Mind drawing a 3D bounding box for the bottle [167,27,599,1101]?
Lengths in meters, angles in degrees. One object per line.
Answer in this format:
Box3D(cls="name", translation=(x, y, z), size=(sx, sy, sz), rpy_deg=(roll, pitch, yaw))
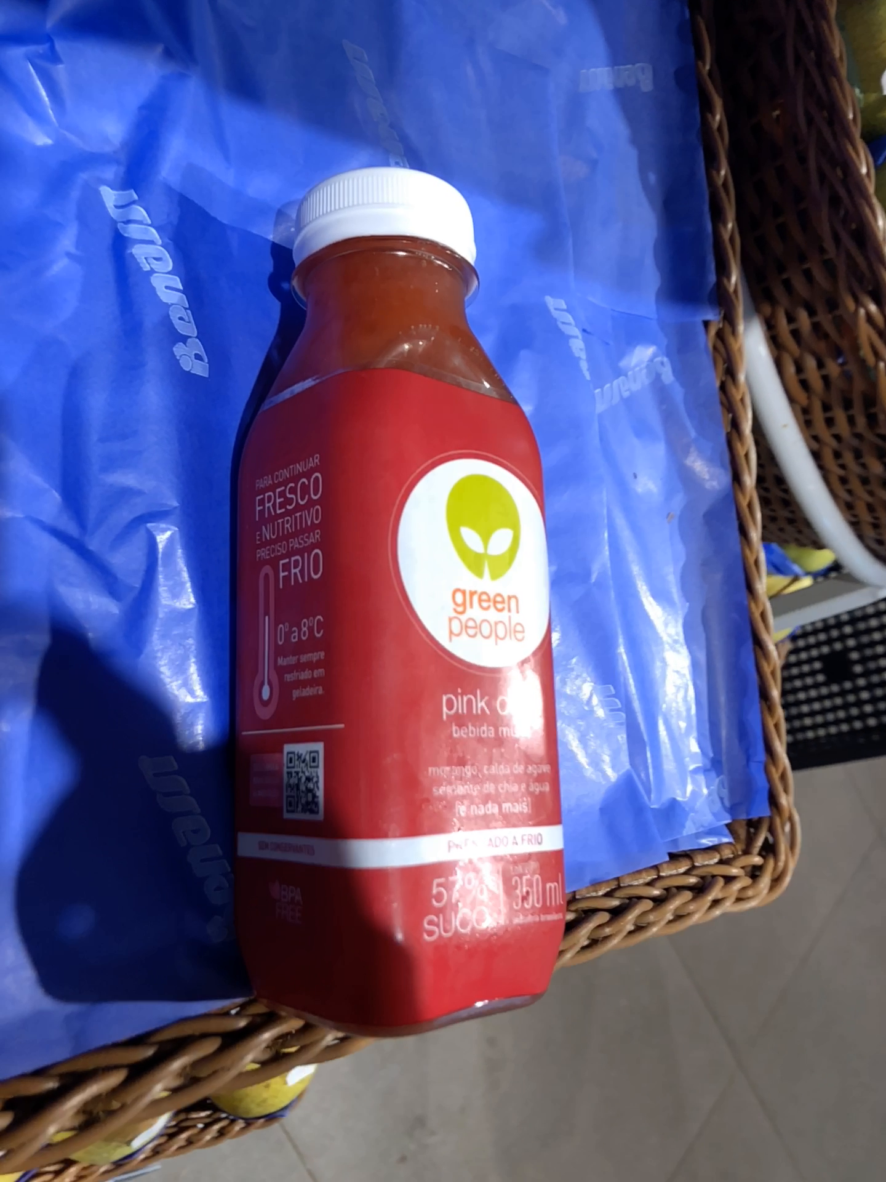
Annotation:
Box3D(cls="bottle", translation=(-0.014, -0.007, 0.211), size=(0.060, 0.060, 0.190), rpy_deg=(9, 75, -38))
